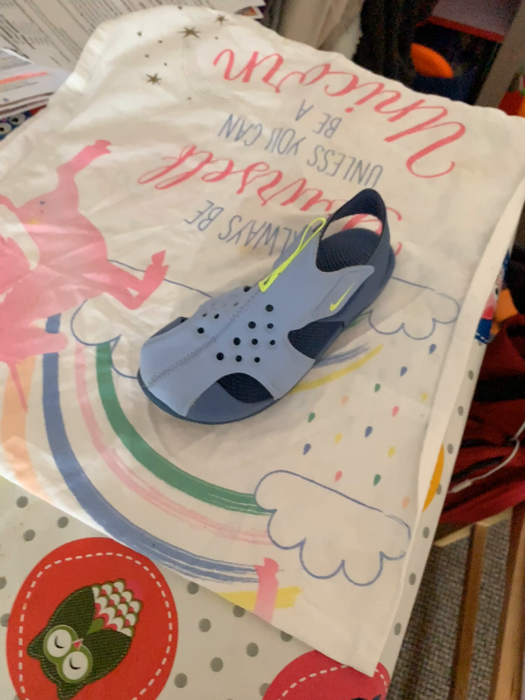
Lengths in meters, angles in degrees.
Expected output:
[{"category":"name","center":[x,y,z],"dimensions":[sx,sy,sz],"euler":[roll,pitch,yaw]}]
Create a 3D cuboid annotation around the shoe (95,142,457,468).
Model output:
[{"category":"shoe","center":[0.013,-0.033,0.368],"dimensions":[0.216,0.090,0.087],"euler":[-37,71,-19]}]
